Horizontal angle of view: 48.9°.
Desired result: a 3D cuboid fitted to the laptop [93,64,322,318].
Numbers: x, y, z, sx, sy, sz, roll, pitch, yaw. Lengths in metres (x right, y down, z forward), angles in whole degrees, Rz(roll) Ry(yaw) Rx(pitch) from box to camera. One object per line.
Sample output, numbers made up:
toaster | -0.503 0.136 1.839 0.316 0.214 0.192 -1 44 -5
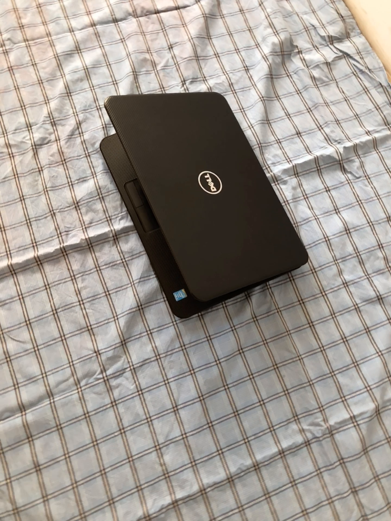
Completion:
laptop | 0.009 -0.116 0.708 0.223 0.099 0.350 -23 78 -8
